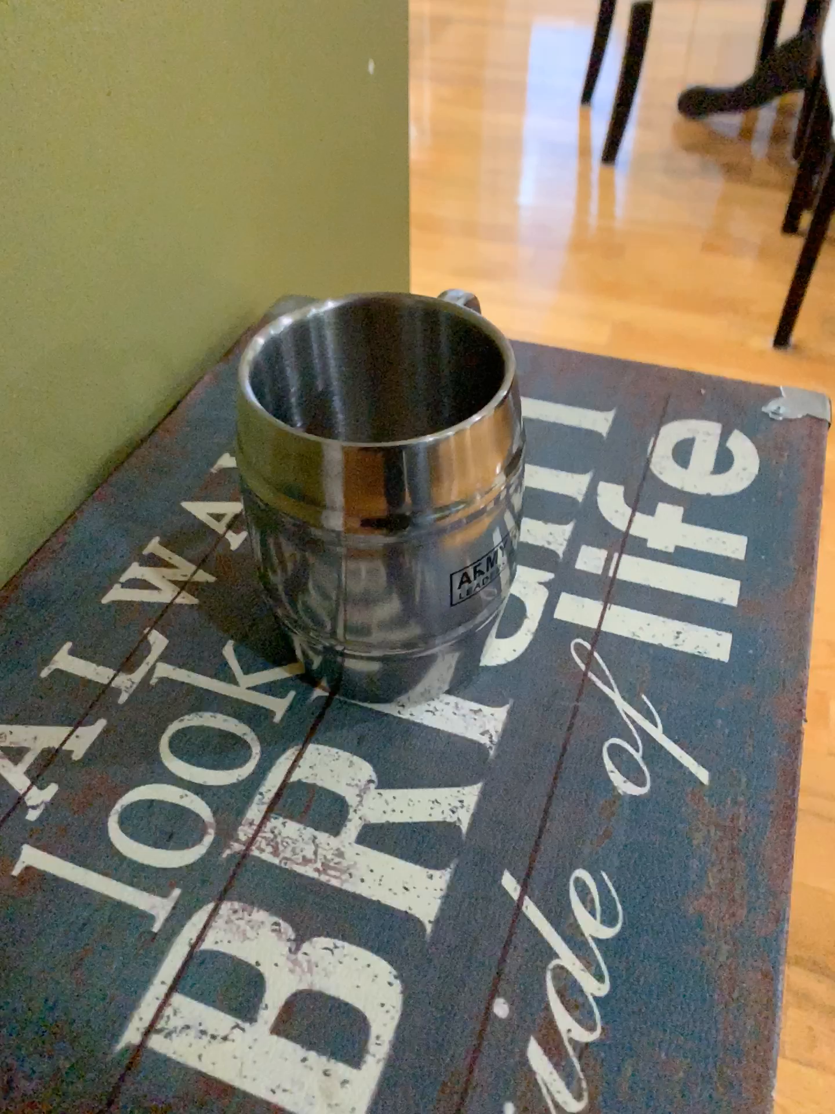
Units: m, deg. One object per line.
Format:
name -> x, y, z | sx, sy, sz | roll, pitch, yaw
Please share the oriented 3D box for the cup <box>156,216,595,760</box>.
cup -> -0.003, -0.028, 0.294 | 0.089, 0.113, 0.130 | 14, 47, 14
